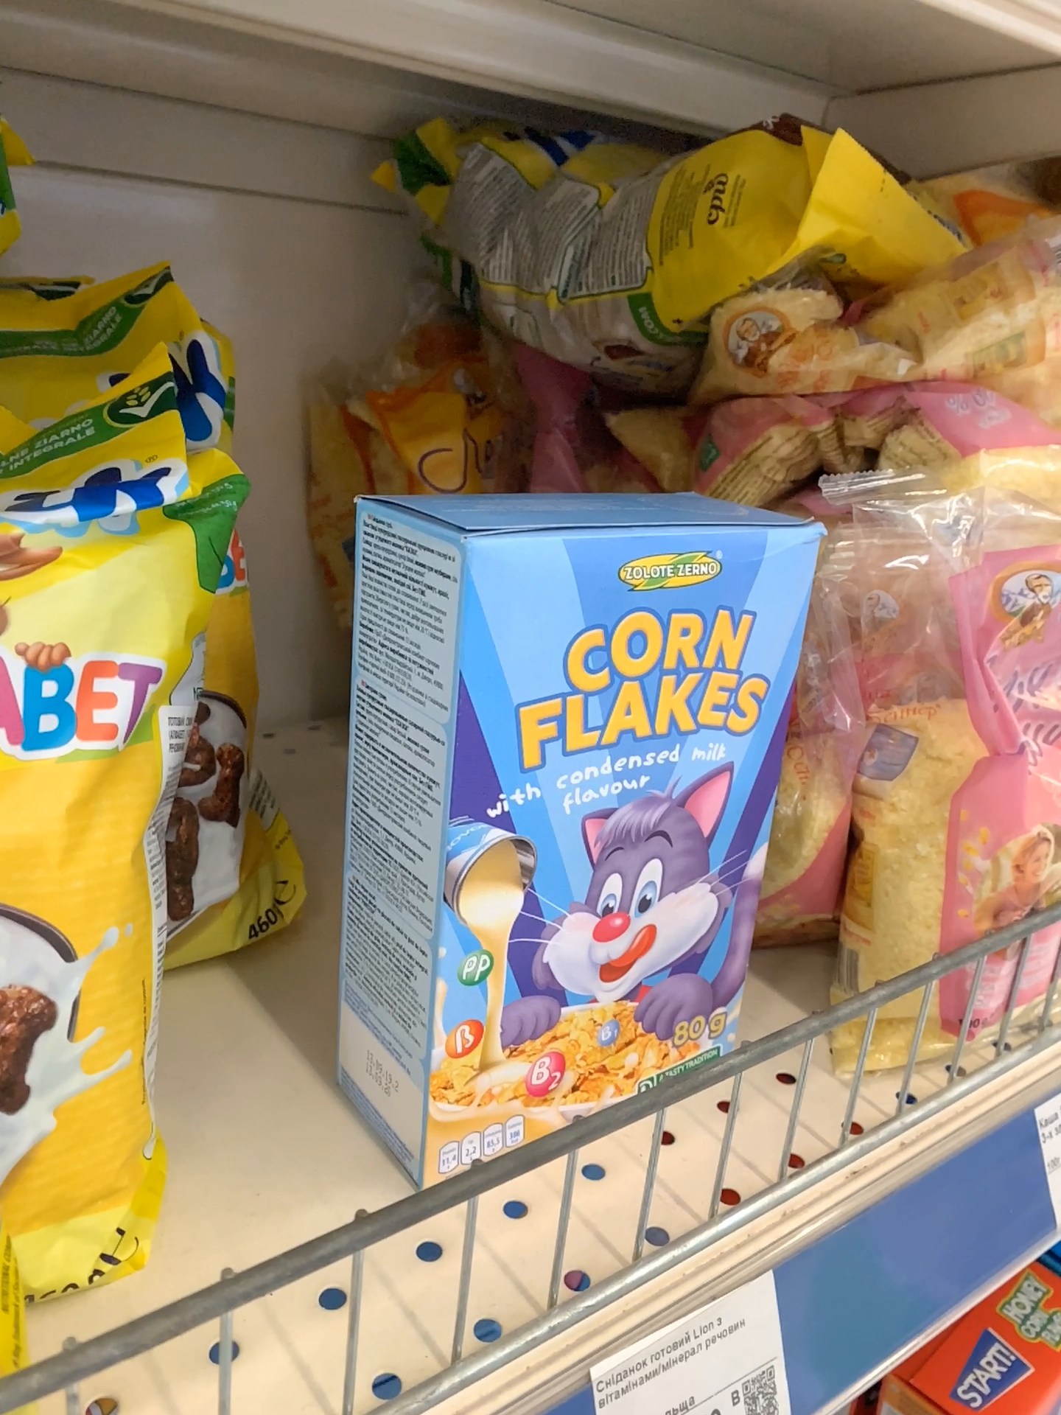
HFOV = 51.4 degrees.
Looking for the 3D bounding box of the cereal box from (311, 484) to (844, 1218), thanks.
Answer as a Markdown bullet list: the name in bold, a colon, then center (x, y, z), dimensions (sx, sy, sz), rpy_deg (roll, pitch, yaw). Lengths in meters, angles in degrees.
- **cereal box**: center (0.010, 0.027, 0.286), dimensions (0.120, 0.159, 0.050), rpy_deg (-9, 22, -35)
